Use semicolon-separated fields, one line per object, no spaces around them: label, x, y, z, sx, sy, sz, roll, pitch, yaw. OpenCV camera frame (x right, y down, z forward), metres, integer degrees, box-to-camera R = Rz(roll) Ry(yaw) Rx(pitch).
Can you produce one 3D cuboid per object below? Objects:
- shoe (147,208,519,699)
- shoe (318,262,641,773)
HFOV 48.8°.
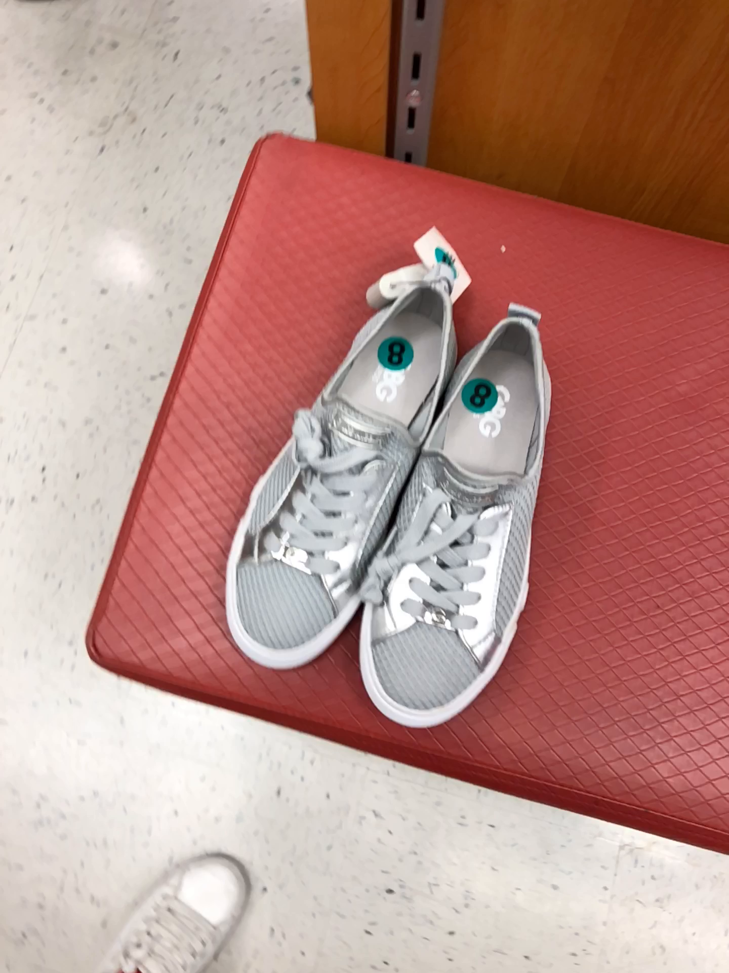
shoe;-0.012;-0.017;0.499;0.106;0.097;0.268;24;77;6
shoe;0.069;0.018;0.490;0.106;0.096;0.268;18;76;4
